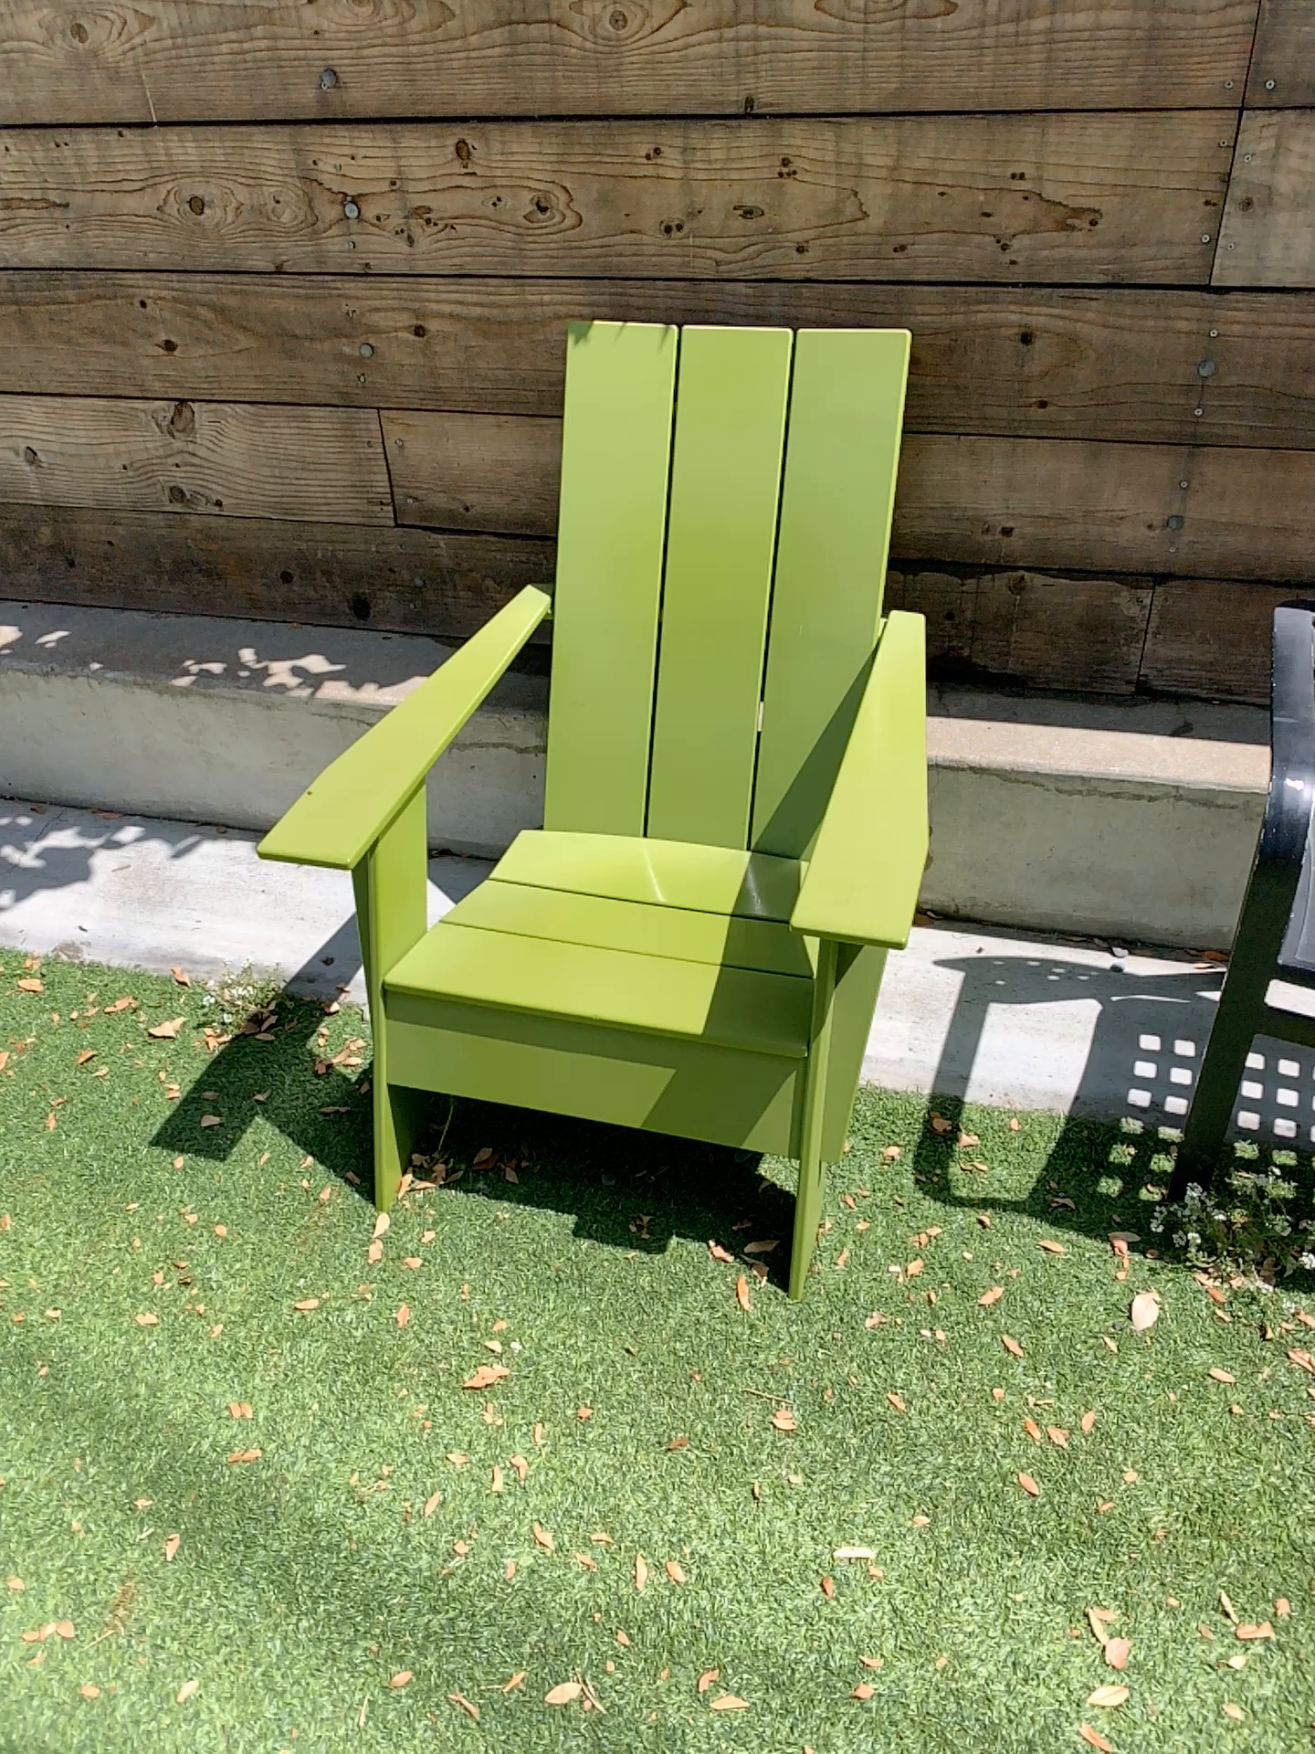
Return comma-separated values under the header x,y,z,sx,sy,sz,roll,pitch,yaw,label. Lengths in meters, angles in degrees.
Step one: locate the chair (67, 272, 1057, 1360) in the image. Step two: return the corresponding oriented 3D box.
x,y,z,sx,sy,sz,roll,pitch,yaw,label
0.014,-0.142,1.610,0.721,0.845,0.905,9,40,16,chair
